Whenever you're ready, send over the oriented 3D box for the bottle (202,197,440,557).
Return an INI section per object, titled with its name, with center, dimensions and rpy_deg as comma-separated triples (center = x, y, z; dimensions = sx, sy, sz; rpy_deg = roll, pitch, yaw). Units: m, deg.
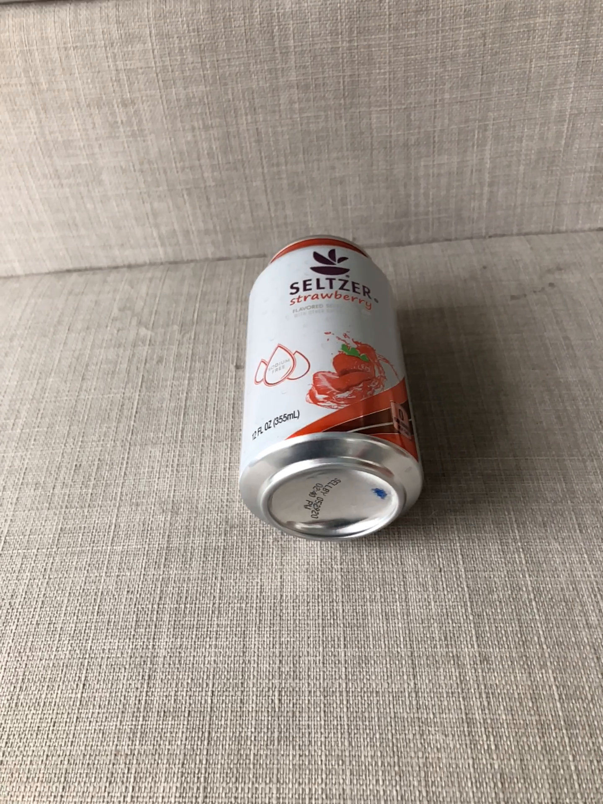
[bottle]
center = 0.007, -0.012, 0.262
dimensions = 0.070, 0.069, 0.121
rpy_deg = -3, 51, 3
